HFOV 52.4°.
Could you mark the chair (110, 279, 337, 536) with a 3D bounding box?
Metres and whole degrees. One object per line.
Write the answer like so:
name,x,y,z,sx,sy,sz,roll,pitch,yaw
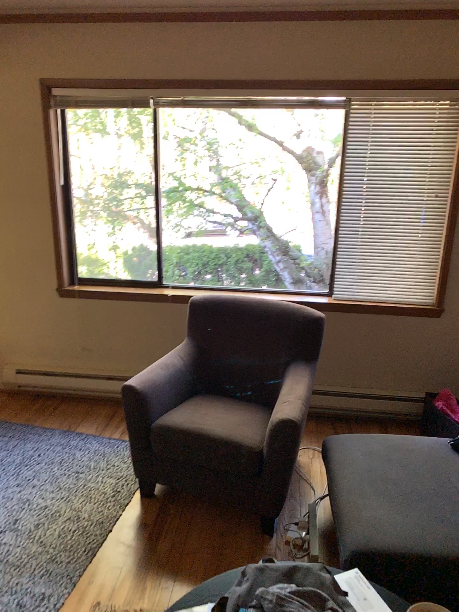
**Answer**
chair,0.009,0.405,2.381,0.881,0.877,0.802,7,15,19
